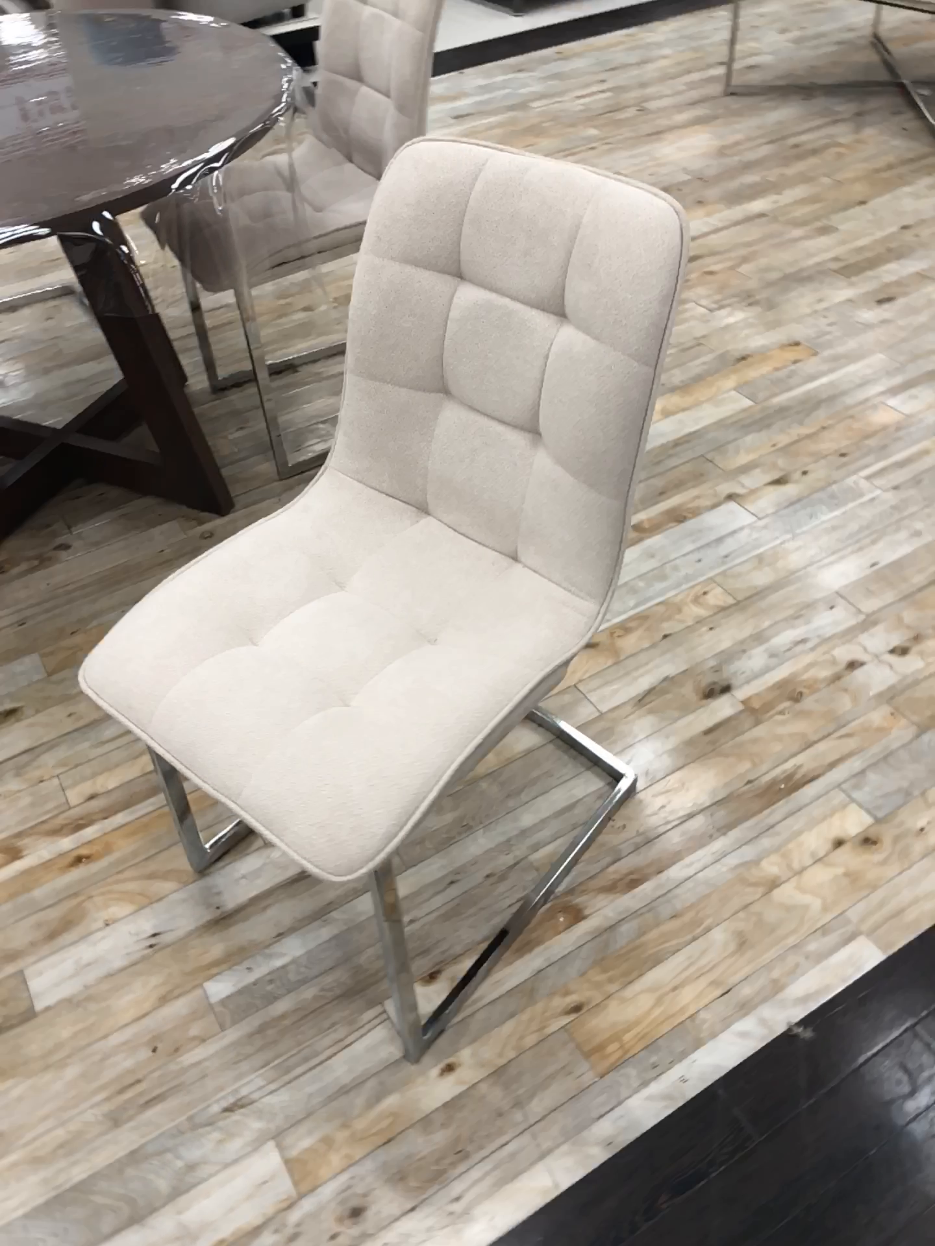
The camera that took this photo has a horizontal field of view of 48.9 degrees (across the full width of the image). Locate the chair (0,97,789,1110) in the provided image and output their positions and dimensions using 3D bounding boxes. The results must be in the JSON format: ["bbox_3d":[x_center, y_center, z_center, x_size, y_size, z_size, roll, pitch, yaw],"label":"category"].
[{"bbox_3d":[-0.075,-0.021,1.155,0.491,0.837,0.591,30,53,32],"label":"chair"}]
